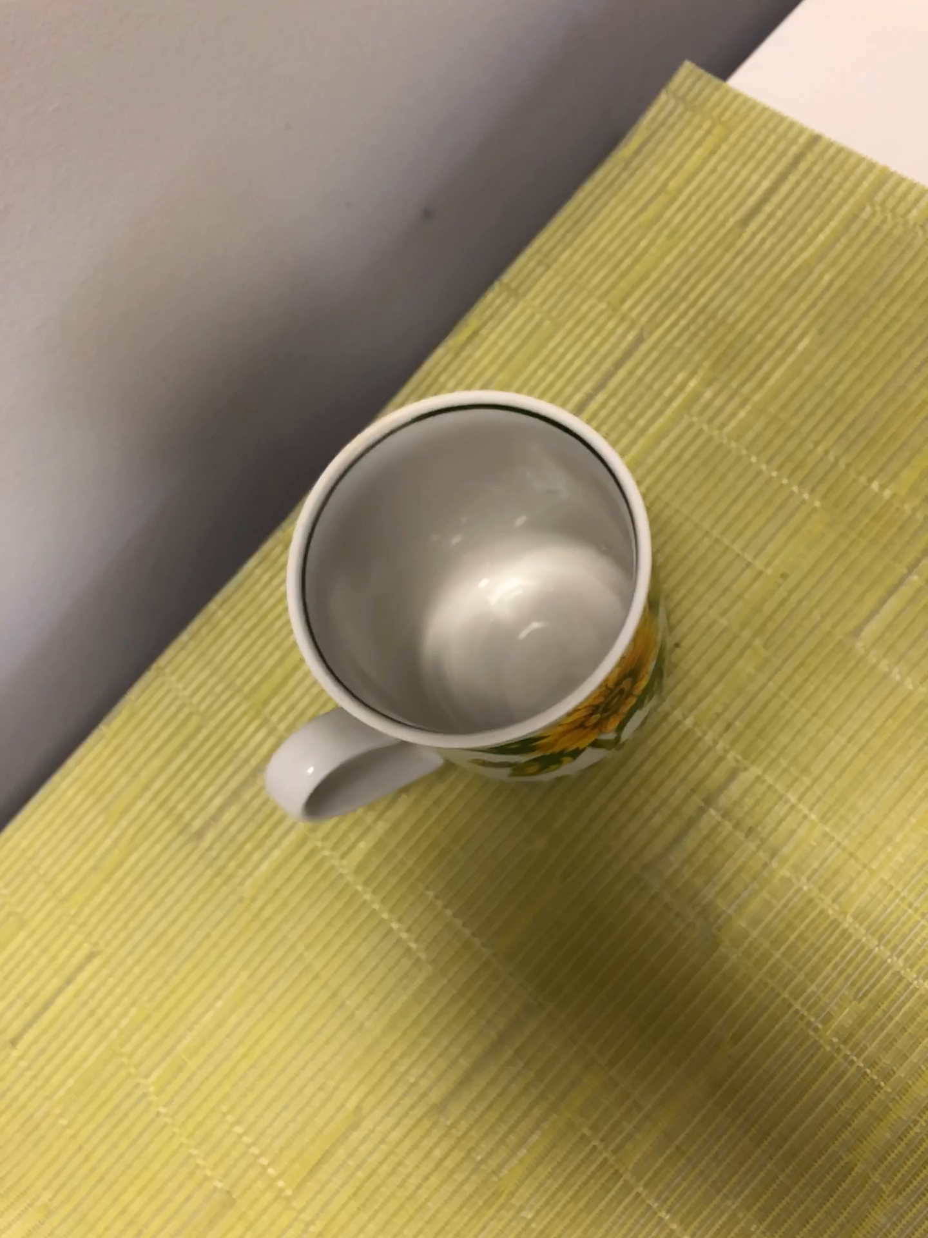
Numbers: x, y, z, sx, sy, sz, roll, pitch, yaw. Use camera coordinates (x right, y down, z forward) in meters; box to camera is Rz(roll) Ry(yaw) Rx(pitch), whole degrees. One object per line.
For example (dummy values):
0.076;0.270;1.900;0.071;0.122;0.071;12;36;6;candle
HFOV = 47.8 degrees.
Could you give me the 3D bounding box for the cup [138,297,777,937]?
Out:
0.005;0.006;0.267;0.116;0.084;0.088;-44;66;0;cup
